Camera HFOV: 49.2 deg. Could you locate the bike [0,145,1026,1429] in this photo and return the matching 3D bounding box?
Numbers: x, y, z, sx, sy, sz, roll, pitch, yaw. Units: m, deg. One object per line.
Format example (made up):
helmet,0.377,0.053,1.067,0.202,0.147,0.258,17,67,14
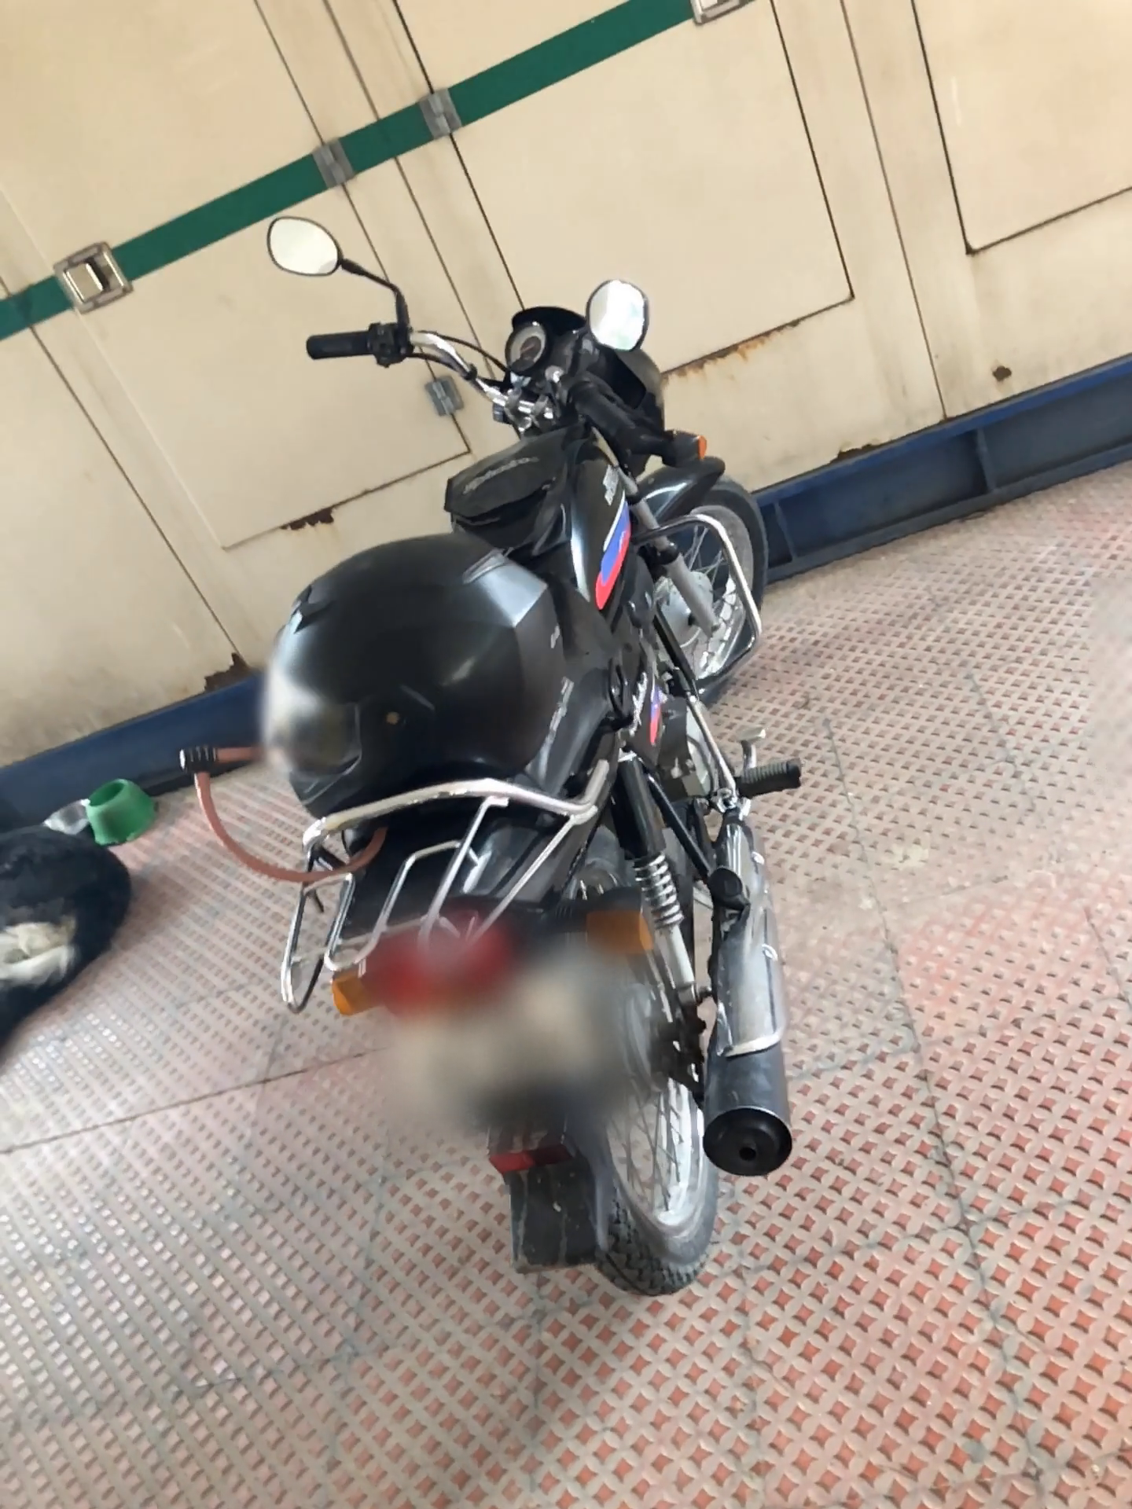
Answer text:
bike,0.153,-0.134,1.985,0.735,1.087,1.868,-13,30,21
